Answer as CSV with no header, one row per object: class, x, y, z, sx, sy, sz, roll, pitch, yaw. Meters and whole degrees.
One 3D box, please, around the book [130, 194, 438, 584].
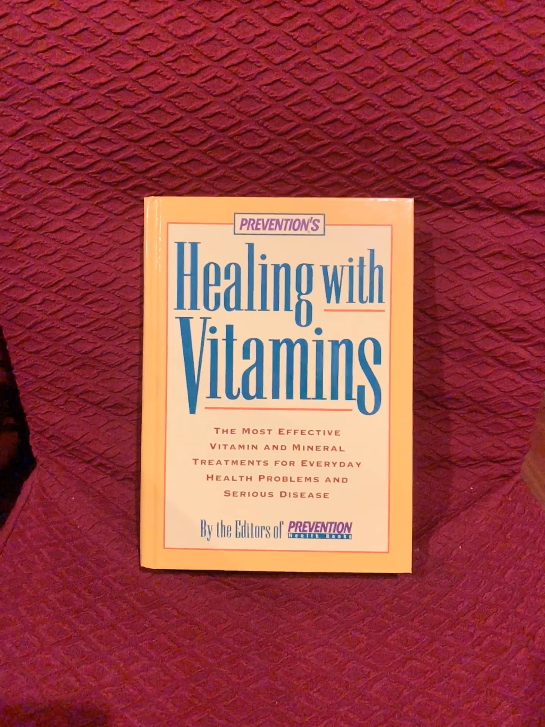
book,0.007,0.015,0.368,0.190,0.240,0.040,0,0,1
